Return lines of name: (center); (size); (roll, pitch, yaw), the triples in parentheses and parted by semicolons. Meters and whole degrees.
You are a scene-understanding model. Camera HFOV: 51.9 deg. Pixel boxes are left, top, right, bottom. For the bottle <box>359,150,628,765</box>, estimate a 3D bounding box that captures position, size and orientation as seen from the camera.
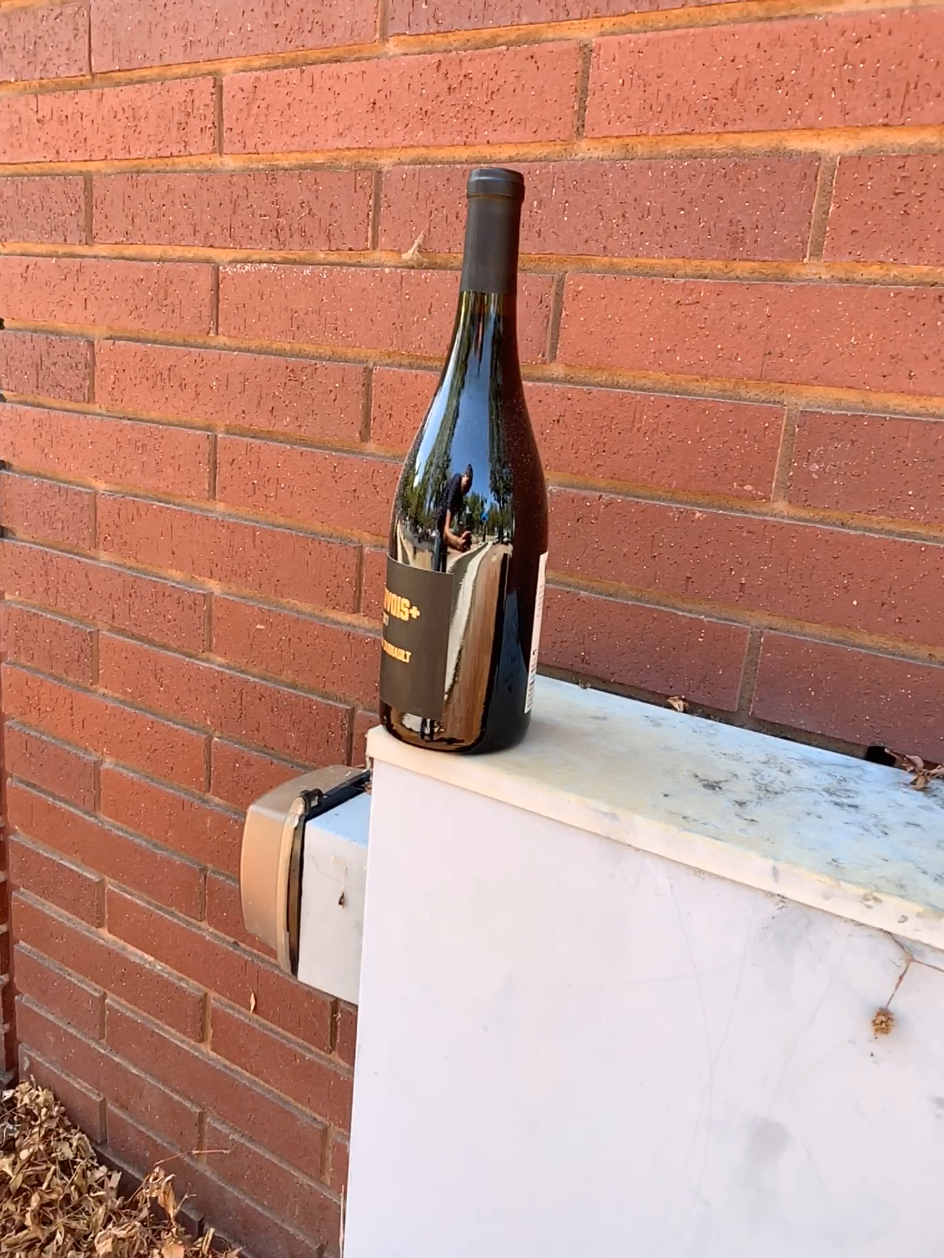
bottle: (0.003, -0.083, 0.515); (0.090, 0.289, 0.090); (5, 15, -1)
